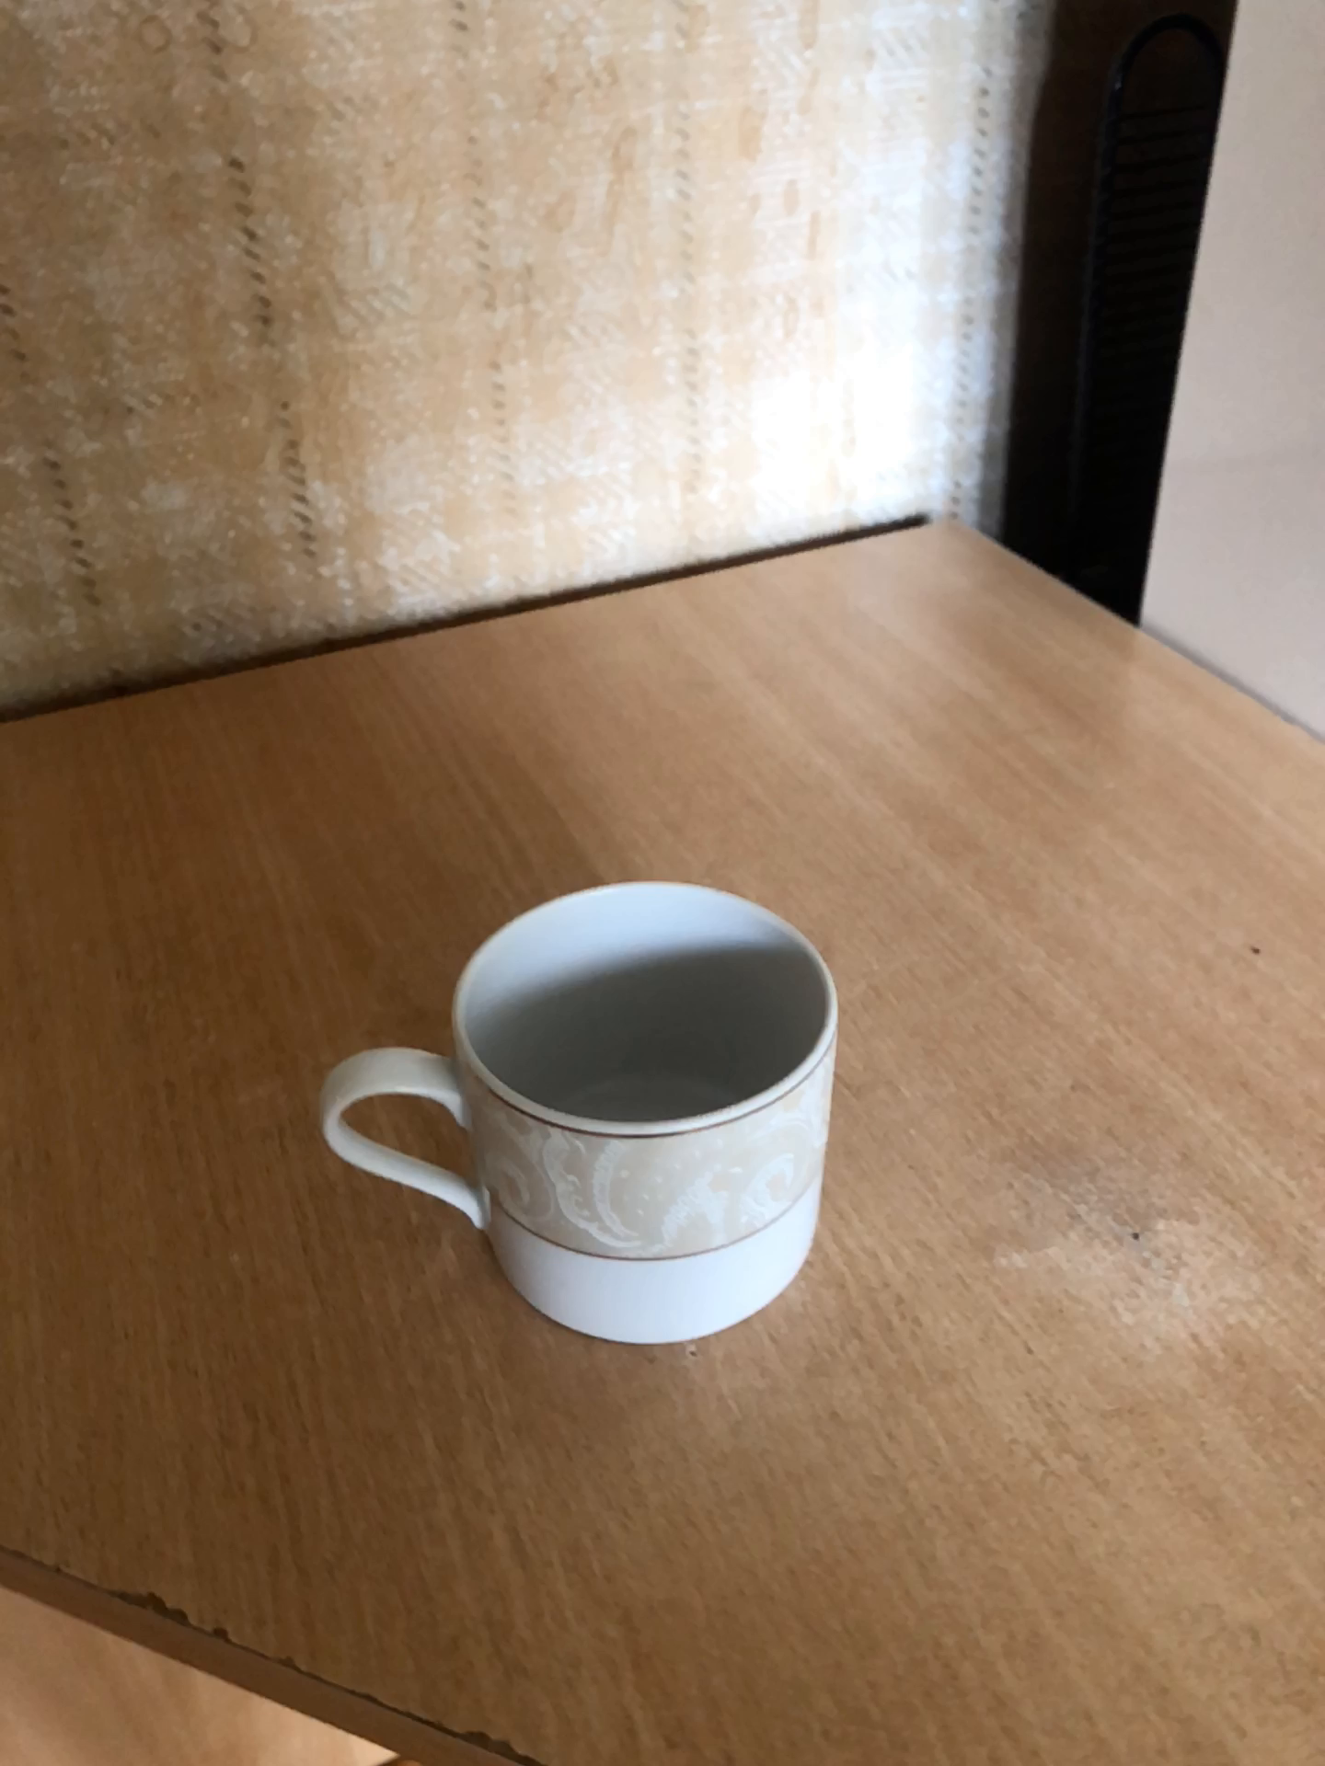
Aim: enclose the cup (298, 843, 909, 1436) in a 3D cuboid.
[{"bbox_3d":[-0.014,0.049,0.298,0.105,0.069,0.075,-9,35,-8],"label":"cup"}]
